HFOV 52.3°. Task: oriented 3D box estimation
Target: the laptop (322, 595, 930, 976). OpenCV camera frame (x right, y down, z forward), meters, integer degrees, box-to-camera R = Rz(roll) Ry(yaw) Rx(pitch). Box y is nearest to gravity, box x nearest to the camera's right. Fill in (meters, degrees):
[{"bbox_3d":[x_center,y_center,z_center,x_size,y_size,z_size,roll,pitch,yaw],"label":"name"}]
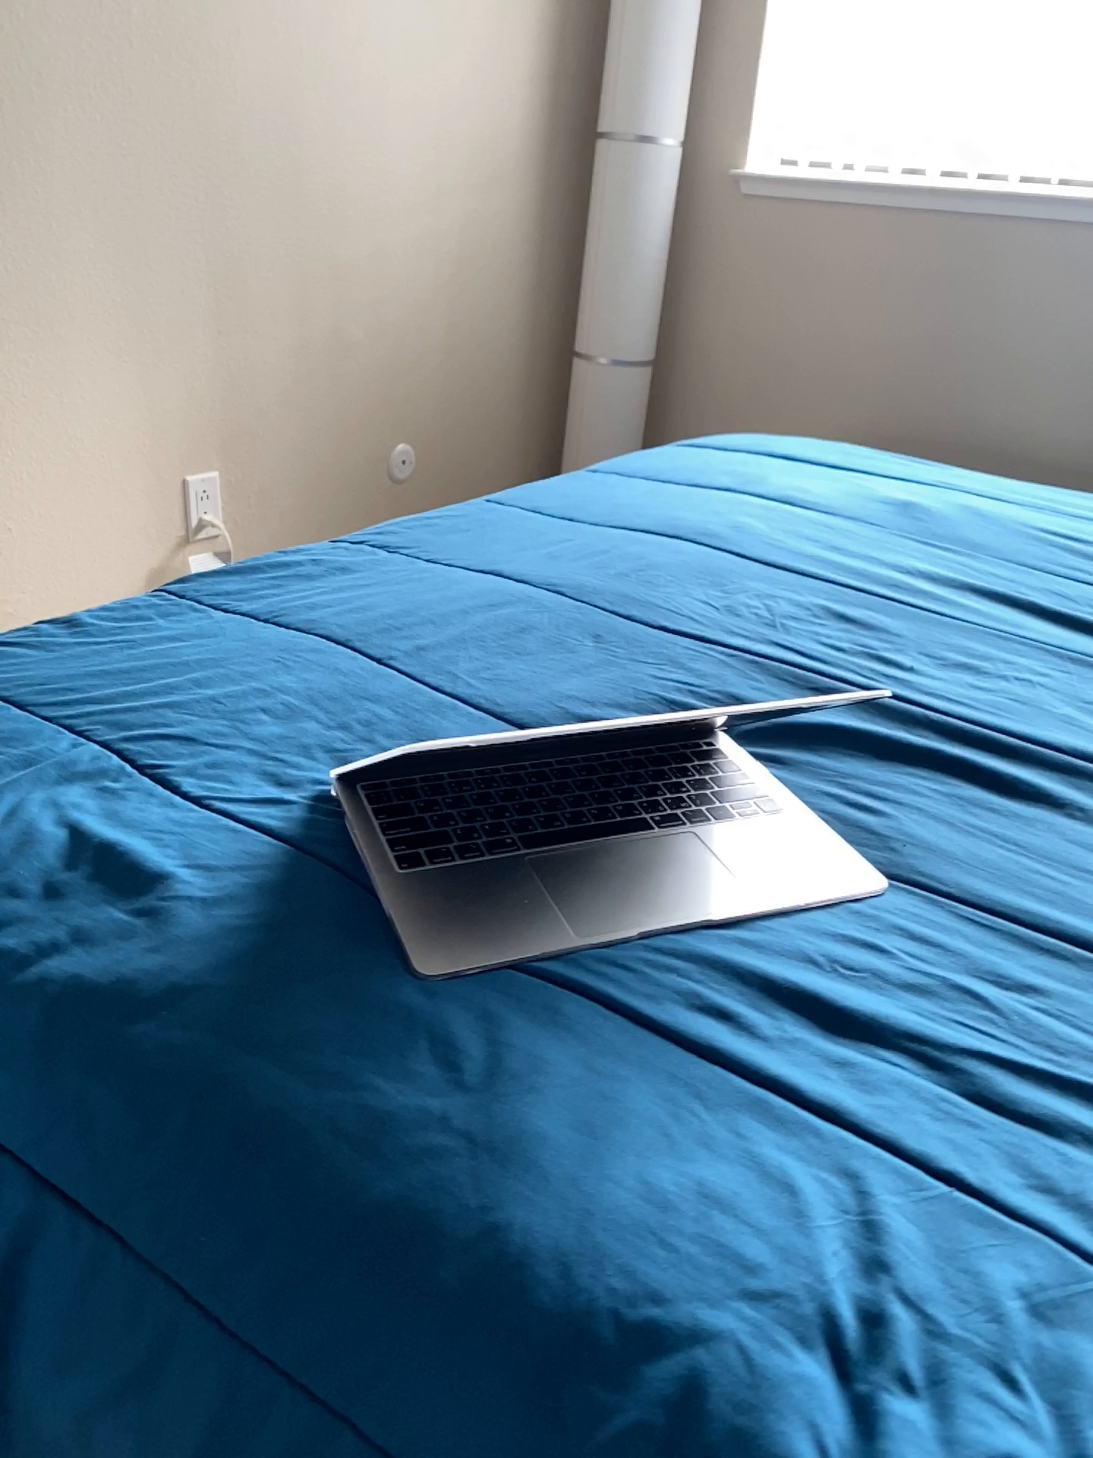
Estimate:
[{"bbox_3d":[0.037,0.016,0.718,0.311,0.106,0.220,-7,31,-21],"label":"laptop"}]
